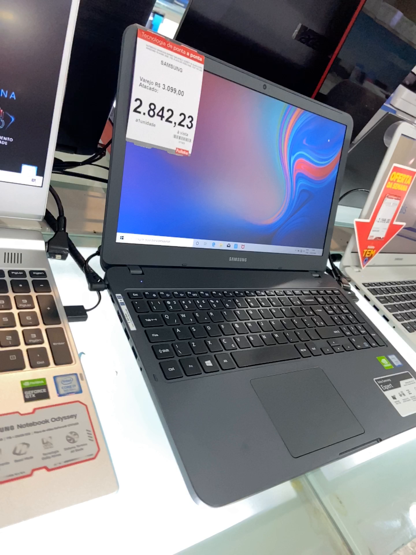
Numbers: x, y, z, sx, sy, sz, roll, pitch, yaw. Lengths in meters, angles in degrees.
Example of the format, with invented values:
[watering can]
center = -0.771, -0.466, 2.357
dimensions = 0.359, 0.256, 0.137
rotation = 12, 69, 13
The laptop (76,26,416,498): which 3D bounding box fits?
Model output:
[laptop]
center = 0.105, -0.040, 0.468
dimensions = 0.368, 0.193, 0.370
rotation = 2, 43, -37
